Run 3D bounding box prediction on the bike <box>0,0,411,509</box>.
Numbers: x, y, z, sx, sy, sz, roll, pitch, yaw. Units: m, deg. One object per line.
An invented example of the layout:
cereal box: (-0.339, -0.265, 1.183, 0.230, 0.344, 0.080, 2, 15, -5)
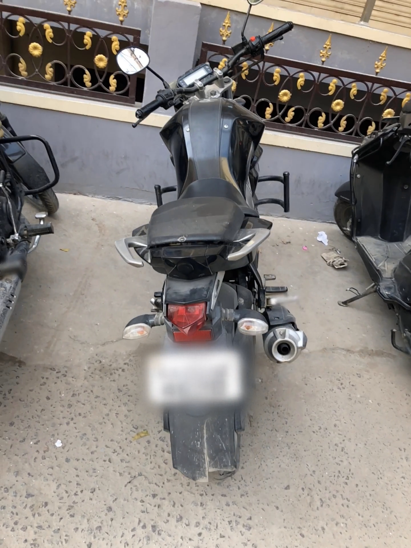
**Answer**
bike: (-0.131, -0.353, 1.735, 0.693, 1.197, 1.767, 7, 36, -8)
